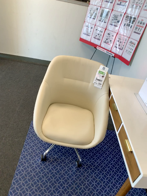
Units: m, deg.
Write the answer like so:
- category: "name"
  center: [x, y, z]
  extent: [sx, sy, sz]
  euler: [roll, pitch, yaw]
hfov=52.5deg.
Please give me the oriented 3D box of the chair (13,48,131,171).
- category: "chair"
  center: [-0.054, 0.089, 1.329]
  extent: [0.670, 0.736, 0.694]
  euler: [9, 36, -5]
